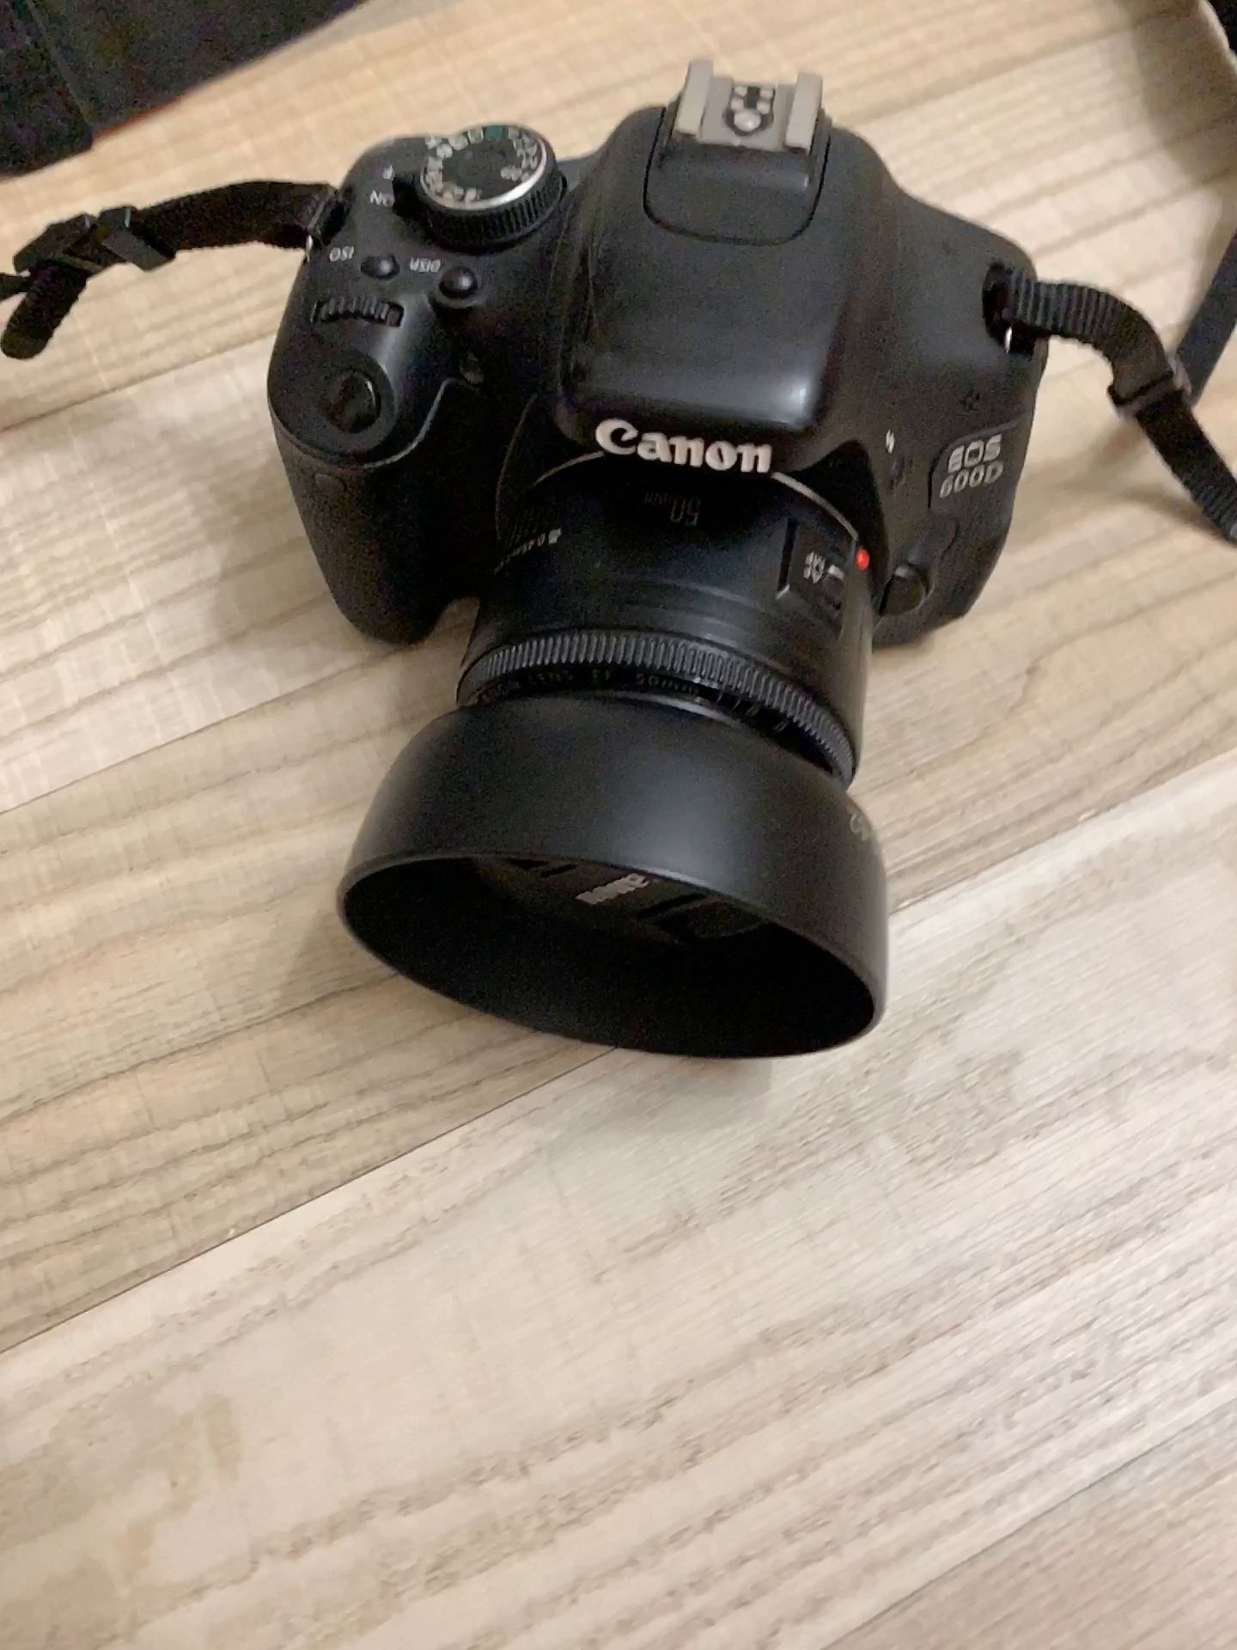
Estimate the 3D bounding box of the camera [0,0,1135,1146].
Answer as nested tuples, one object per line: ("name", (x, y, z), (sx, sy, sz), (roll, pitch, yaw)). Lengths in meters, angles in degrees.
("camera", (-0.002, -0.043, 0.216), (0.139, 0.090, 0.151), (10, 66, 6))
